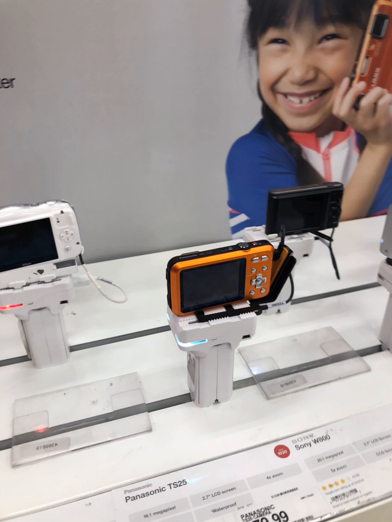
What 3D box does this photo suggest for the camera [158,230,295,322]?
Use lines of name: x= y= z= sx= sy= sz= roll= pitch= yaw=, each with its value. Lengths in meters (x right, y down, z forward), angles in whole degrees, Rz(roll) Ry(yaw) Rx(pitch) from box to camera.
camera: x=0.028 y=0.012 z=0.393 sx=0.120 sy=0.060 sz=0.020 roll=-11 pitch=32 yaw=-17
